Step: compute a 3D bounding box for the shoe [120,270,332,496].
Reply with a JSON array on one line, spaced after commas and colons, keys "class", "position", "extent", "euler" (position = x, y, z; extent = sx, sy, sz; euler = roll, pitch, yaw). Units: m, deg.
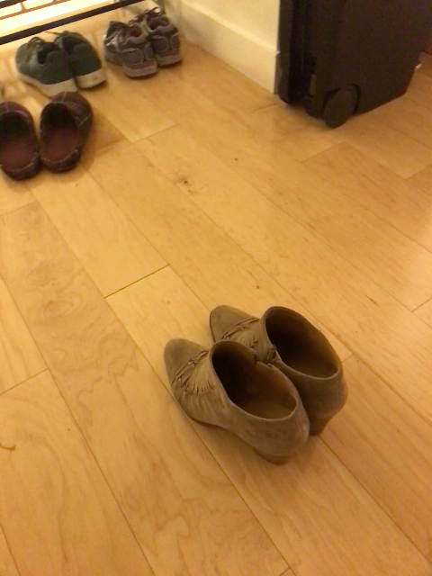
[{"class": "shoe", "position": [0.005, 0.109, 0.592], "extent": [0.110, 0.109, 0.251], "euler": [-35, 56, -24]}]

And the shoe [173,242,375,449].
[{"class": "shoe", "position": [0.066, 0.067, 0.632], "extent": [0.110, 0.109, 0.251], "euler": [-34, 56, -23]}]
